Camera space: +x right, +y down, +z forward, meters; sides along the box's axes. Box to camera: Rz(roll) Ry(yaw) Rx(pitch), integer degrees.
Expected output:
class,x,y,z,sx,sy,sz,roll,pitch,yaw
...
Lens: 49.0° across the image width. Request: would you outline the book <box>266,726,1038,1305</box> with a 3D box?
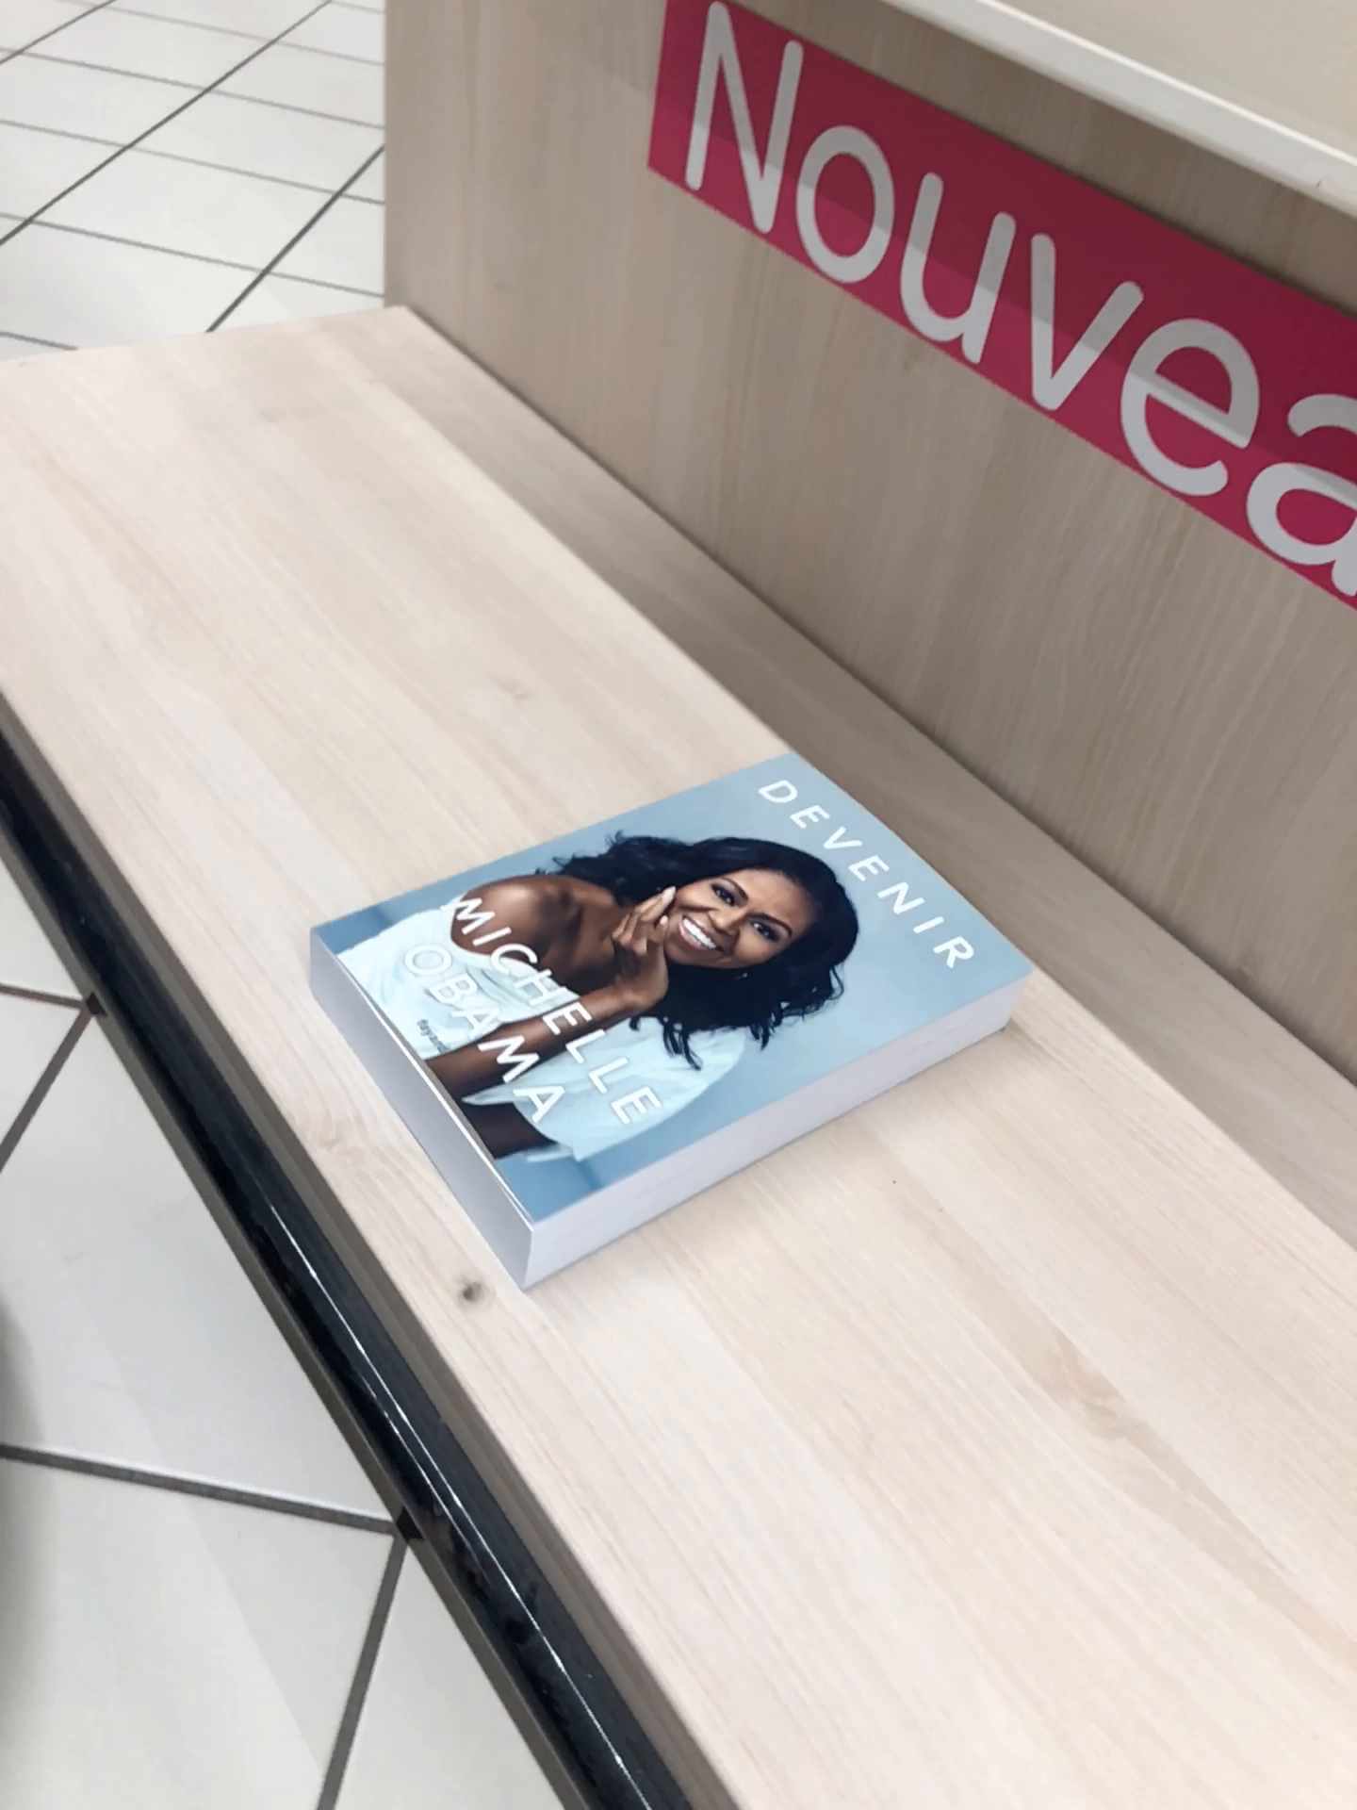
class,x,y,z,sx,sy,sz,roll,pitch,yaw
book,-0.008,0.025,0.570,0.241,0.040,0.163,-22,52,-30
